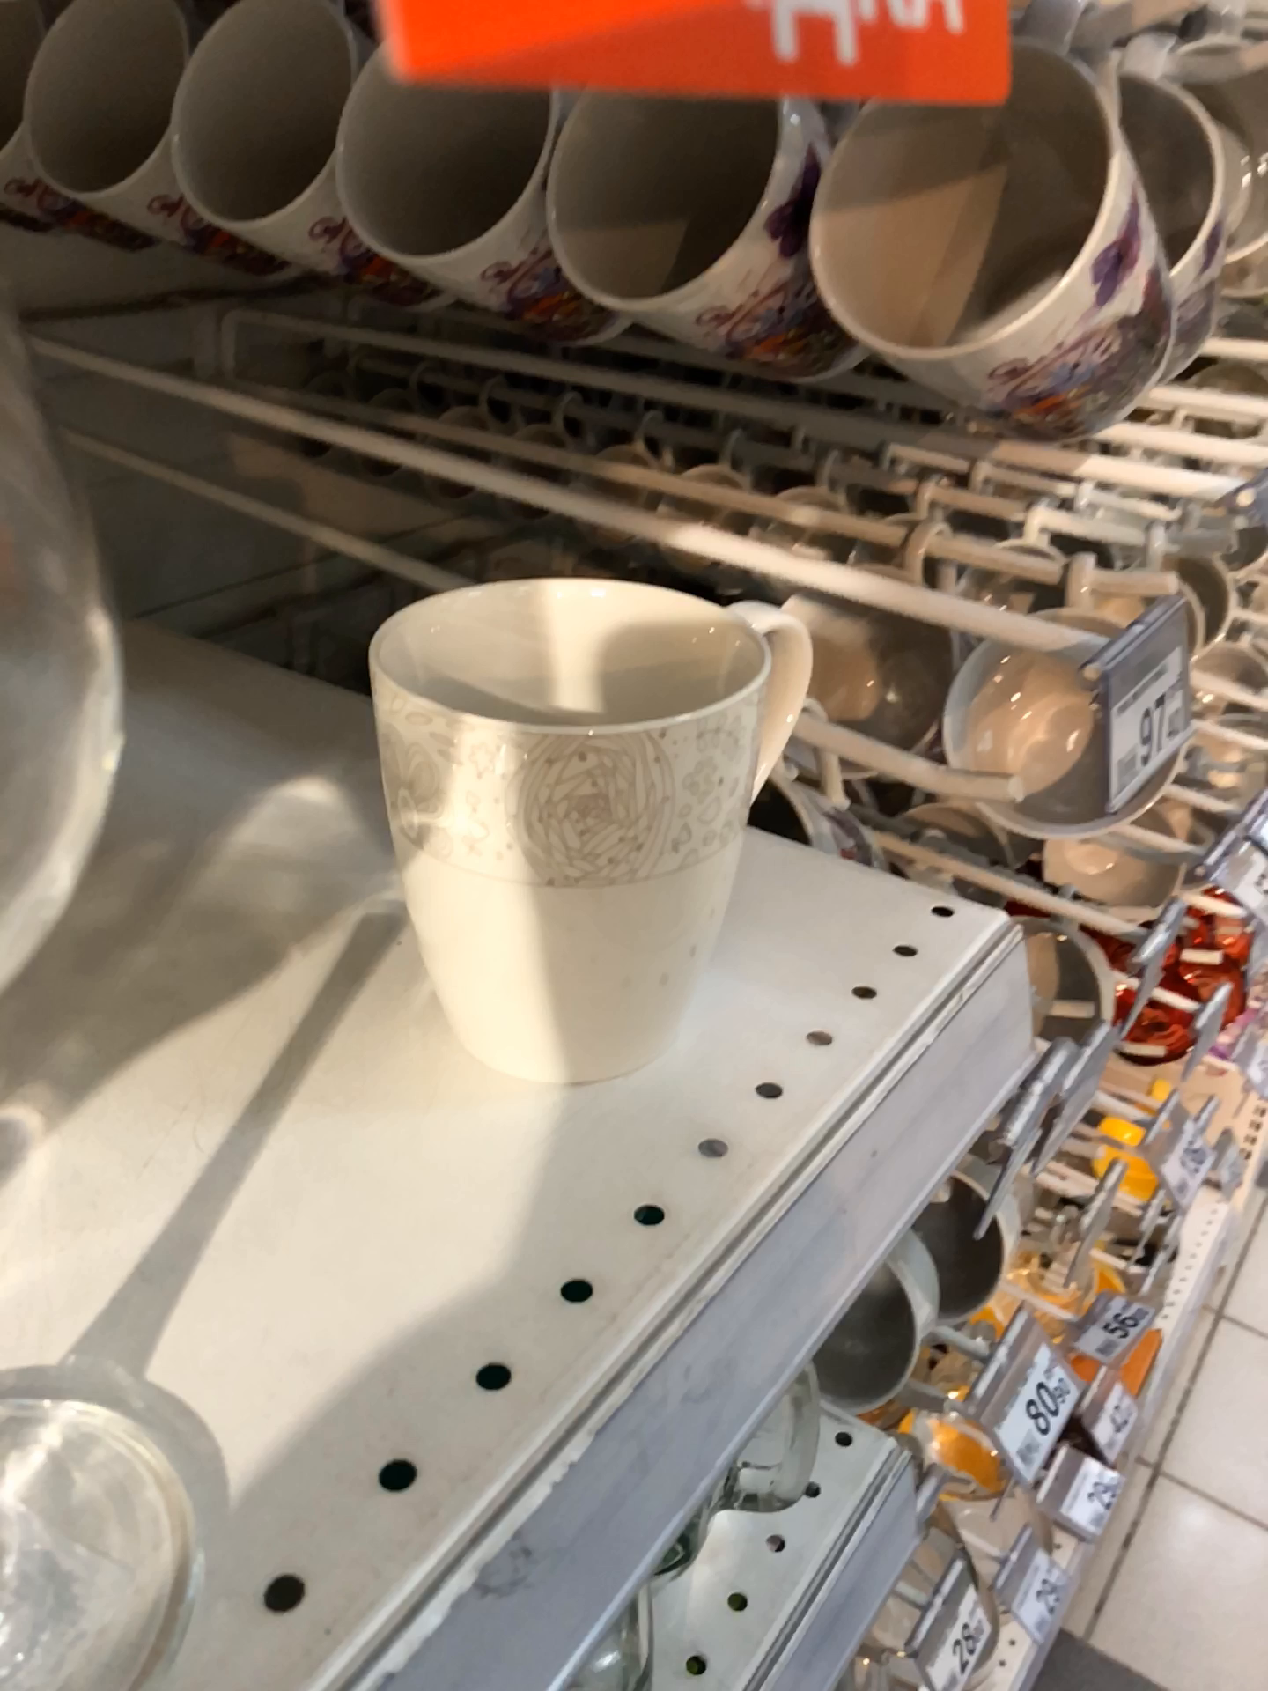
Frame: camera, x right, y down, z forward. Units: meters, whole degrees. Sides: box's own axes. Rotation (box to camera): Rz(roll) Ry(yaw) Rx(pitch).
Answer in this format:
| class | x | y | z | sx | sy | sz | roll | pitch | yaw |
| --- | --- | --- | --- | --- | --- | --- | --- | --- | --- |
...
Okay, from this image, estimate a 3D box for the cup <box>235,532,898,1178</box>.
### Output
| class | x | y | z | sx | sy | sz | roll | pitch | yaw |
| --- | --- | --- | --- | --- | --- | --- | --- | --- | --- |
| cup | -0.012 | -0.008 | 0.336 | 0.089 | 0.091 | 0.126 | 22 | 34 | 31 |
